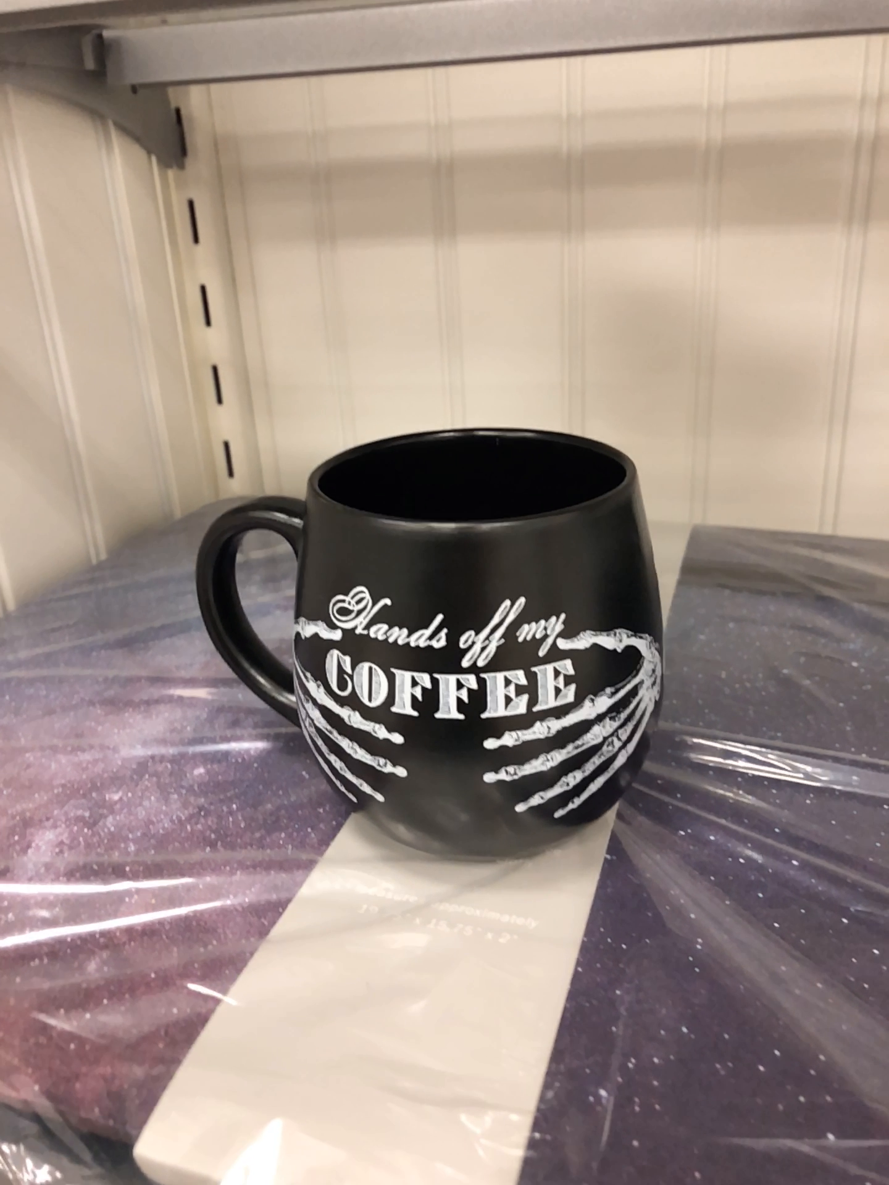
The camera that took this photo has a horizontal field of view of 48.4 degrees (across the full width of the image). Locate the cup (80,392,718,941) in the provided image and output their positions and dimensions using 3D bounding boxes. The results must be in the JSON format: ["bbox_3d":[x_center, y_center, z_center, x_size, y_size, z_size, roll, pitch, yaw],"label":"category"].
[{"bbox_3d":[-0.007,0.007,0.285,0.140,0.099,0.101,9,27,26],"label":"cup"}]
